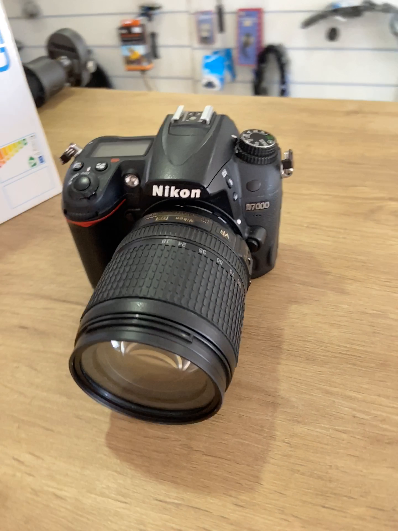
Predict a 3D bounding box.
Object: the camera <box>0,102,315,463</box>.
[{"bbox_3d":[-0.021,-0.005,0.221,0.140,0.099,0.161,1,41,9],"label":"camera"}]
